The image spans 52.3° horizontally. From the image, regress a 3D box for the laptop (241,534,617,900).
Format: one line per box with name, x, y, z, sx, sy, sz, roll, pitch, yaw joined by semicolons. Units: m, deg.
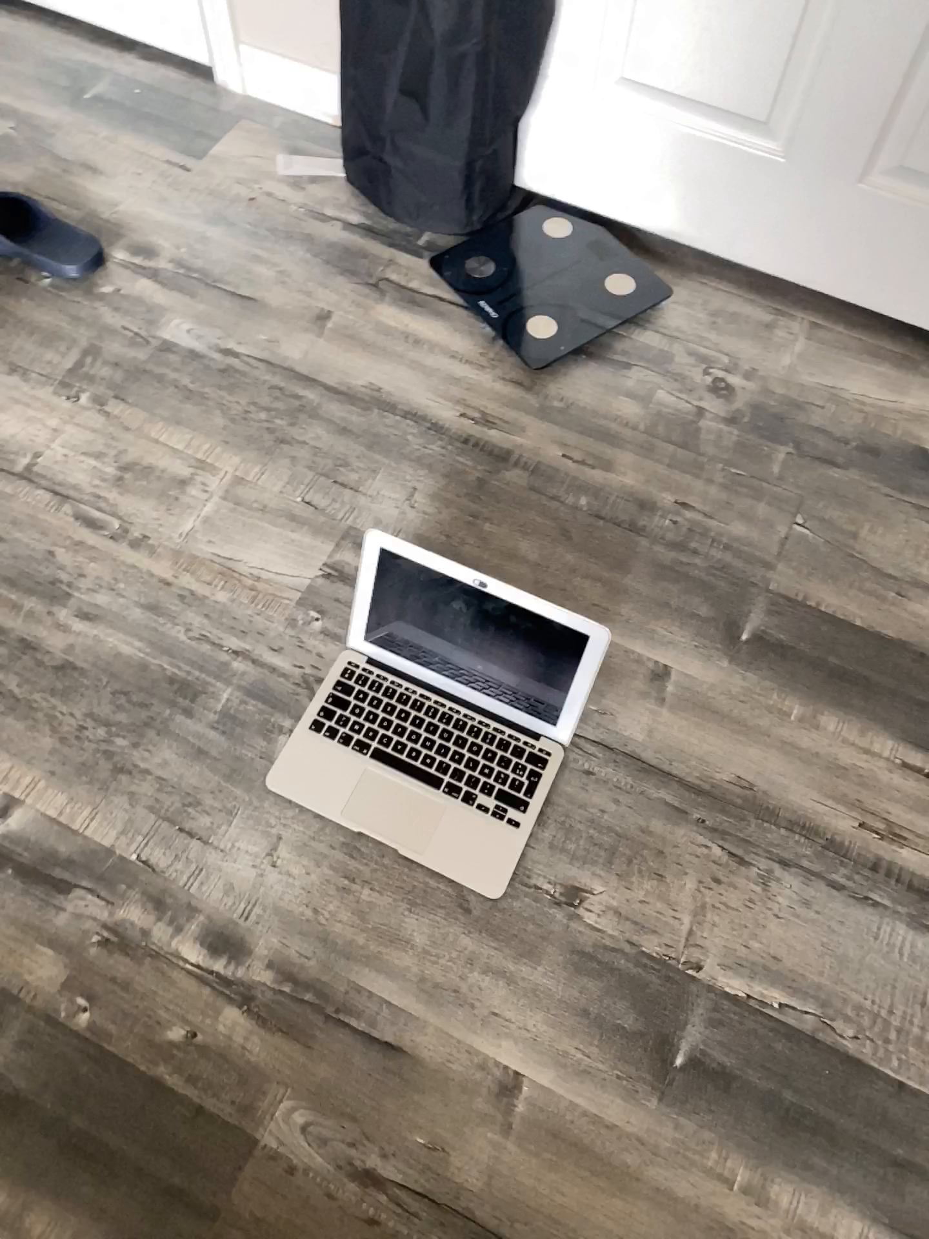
laptop;-0.031;0.100;1.006;0.290;0.159;0.255;23;61;10
